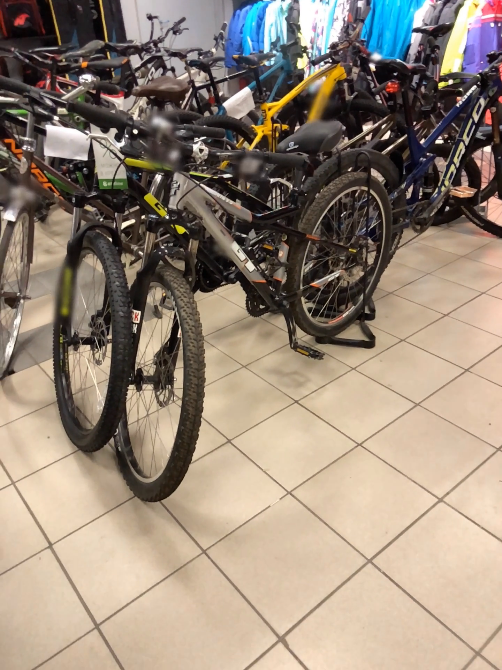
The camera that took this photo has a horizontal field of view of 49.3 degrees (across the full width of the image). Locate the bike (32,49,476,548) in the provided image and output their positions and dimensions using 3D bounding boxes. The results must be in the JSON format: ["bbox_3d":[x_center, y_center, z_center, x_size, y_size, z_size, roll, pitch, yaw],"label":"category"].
[{"bbox_3d":[0.189,-0.322,1.732,0.625,1.012,1.430,14,32,27],"label":"bike"}]
